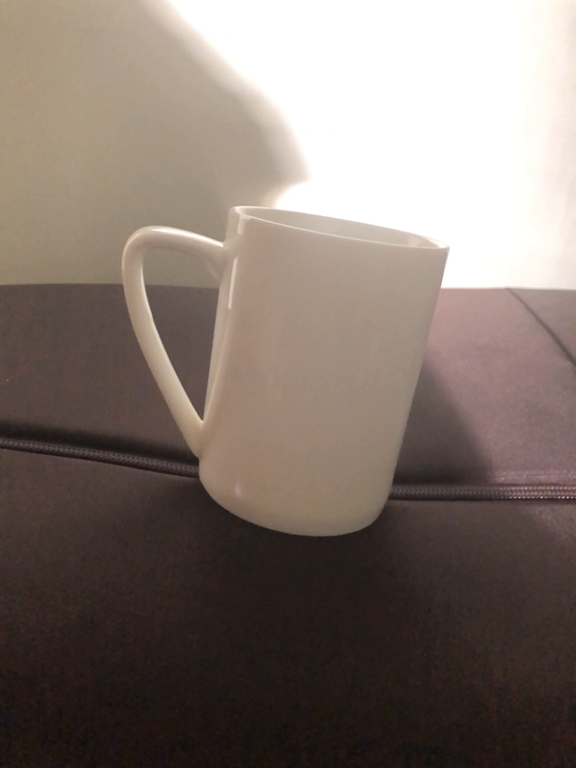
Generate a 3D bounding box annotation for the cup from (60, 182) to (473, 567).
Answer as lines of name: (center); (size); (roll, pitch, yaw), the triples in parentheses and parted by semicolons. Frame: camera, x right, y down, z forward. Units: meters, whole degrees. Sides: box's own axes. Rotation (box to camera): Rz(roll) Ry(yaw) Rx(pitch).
cup: (-0.002, -0.014, 0.228); (0.108, 0.090, 0.097); (13, 17, 10)
